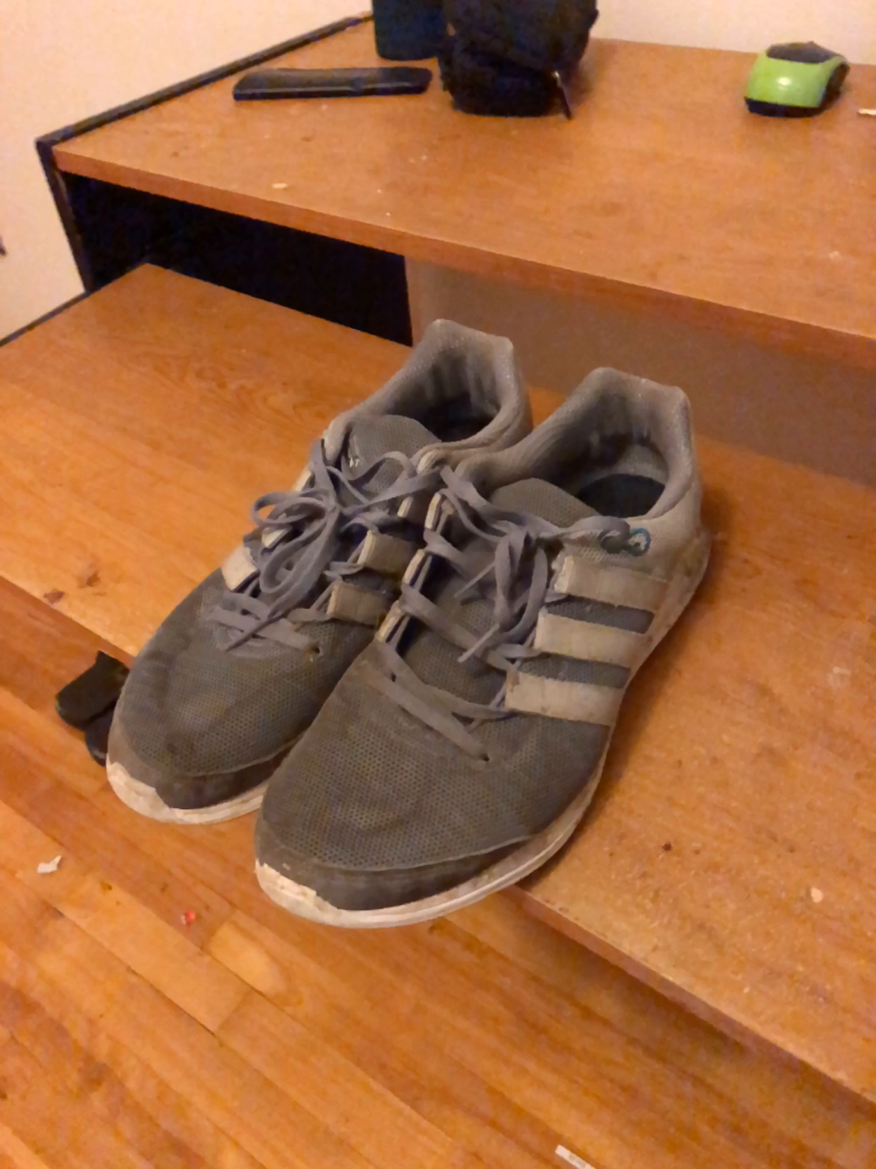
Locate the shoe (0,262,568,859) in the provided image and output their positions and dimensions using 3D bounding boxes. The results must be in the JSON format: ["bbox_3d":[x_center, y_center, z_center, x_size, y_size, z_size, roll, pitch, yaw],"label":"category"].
[{"bbox_3d":[-0.057,-0.037,0.452,0.110,0.089,0.302,20,49,26],"label":"shoe"}]

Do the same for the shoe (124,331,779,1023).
[{"bbox_3d":[0.026,0.010,0.394,0.120,0.089,0.271,21,49,26],"label":"shoe"}]
